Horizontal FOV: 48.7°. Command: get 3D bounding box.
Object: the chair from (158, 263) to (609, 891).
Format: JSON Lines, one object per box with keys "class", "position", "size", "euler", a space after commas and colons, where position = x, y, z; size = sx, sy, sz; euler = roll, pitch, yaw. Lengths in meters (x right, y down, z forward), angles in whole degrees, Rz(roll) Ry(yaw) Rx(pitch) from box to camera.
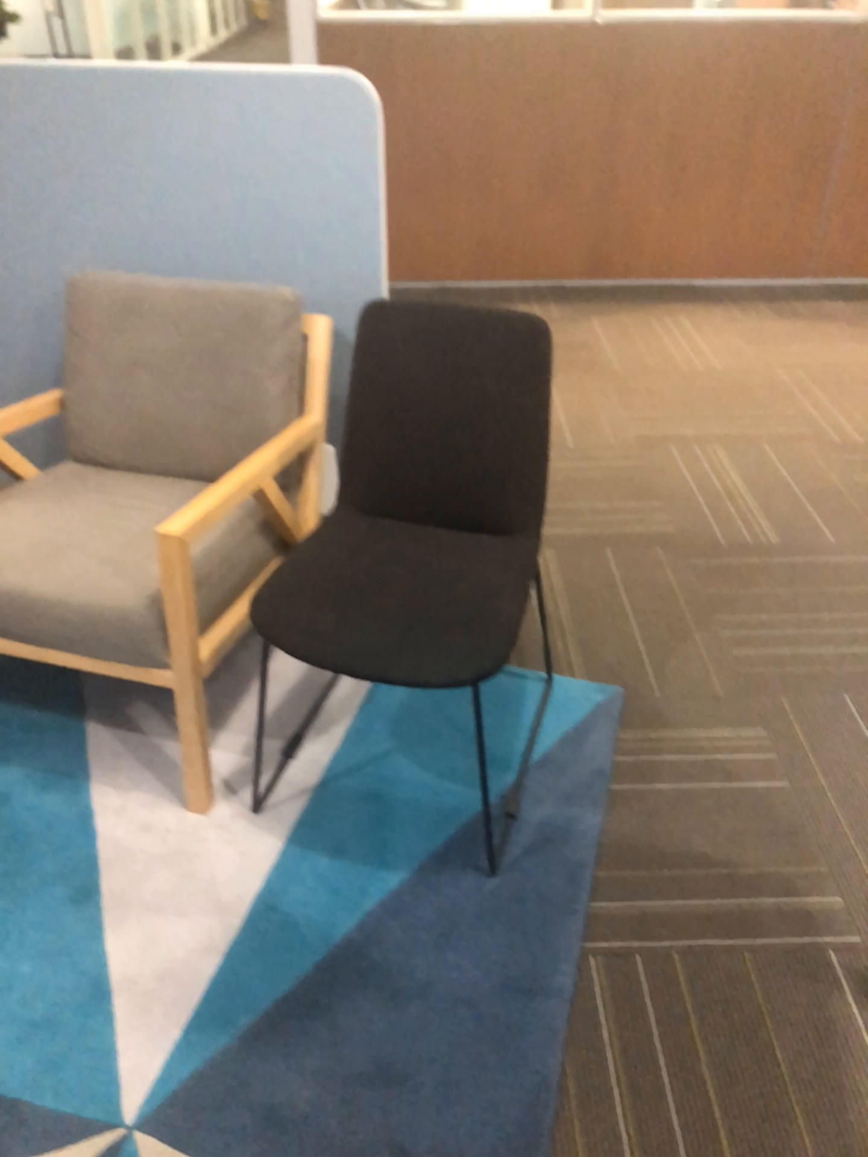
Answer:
{"class": "chair", "position": [-0.029, -0.038, 1.735], "size": [0.500, 0.823, 0.686], "euler": [10, 35, 15]}
